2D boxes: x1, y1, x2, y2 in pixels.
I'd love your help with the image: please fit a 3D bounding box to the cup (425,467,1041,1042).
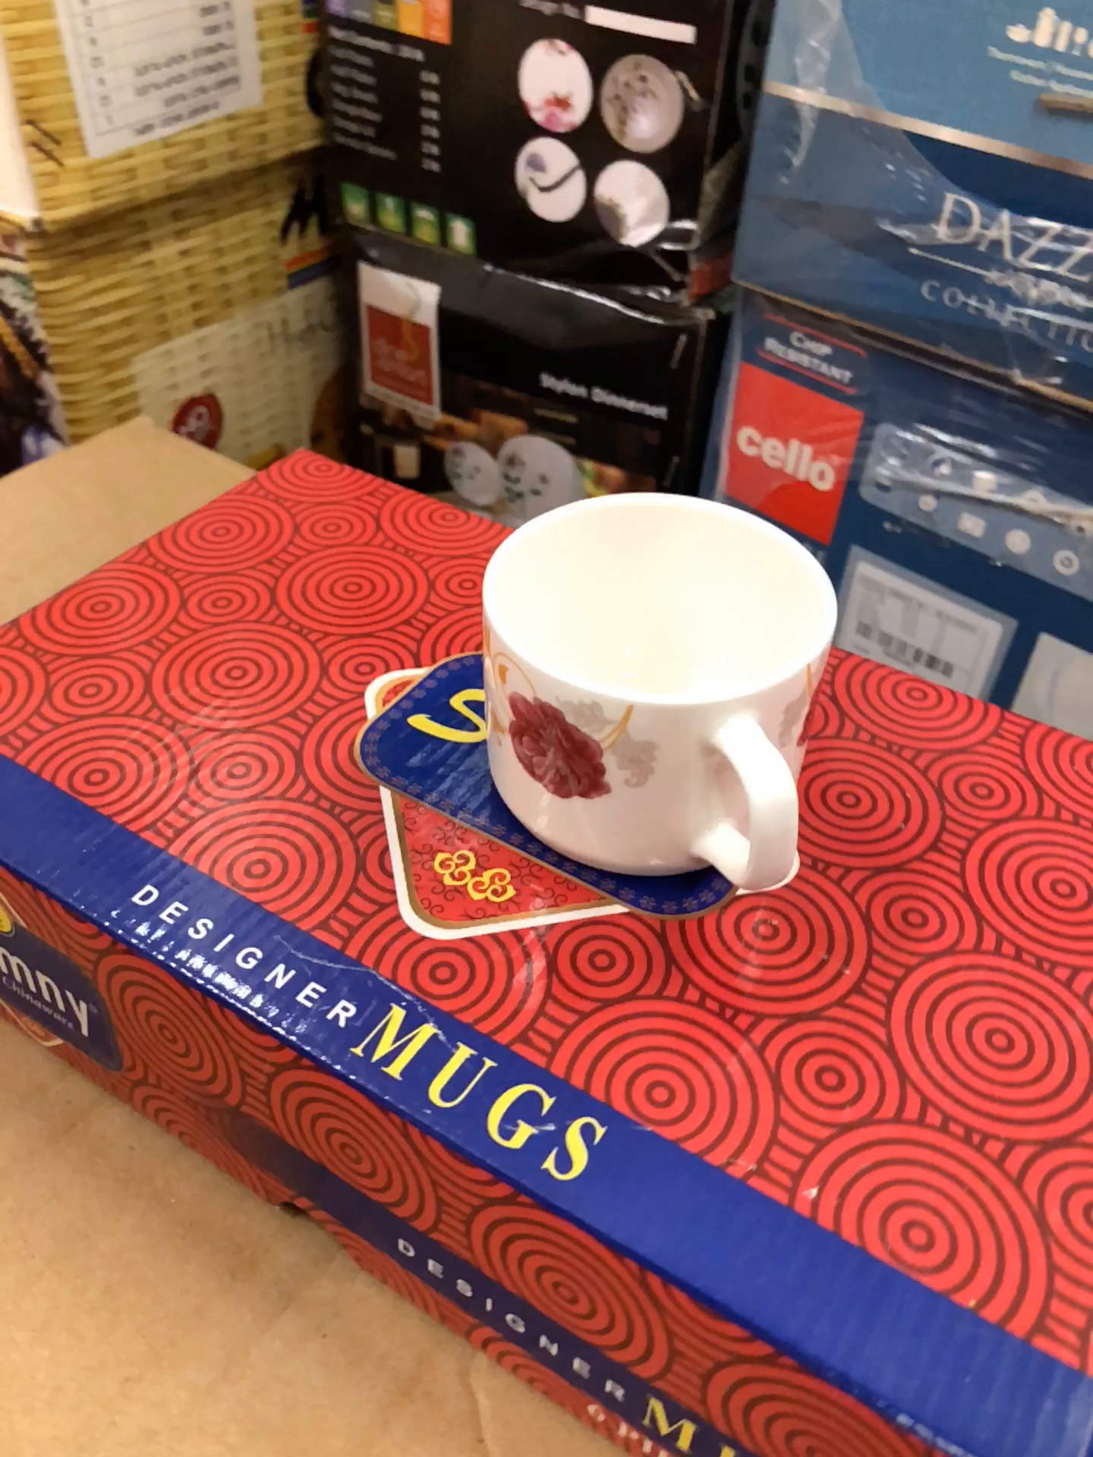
[{"bbox_3d":[0.029,-0.002,0.251,0.080,0.050,0.100,-13,44,-19],"label":"cup"}]
